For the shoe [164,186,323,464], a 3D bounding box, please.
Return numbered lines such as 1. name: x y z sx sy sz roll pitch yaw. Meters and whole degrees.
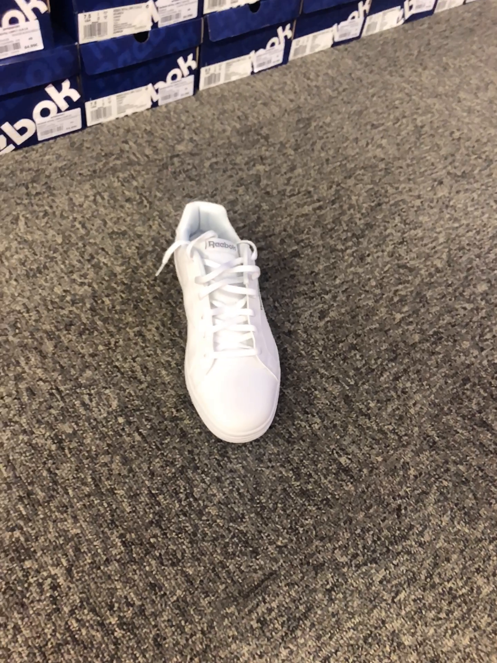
1. shoe: -0.019 -0.015 0.558 0.100 0.099 0.261 -6 60 -13
